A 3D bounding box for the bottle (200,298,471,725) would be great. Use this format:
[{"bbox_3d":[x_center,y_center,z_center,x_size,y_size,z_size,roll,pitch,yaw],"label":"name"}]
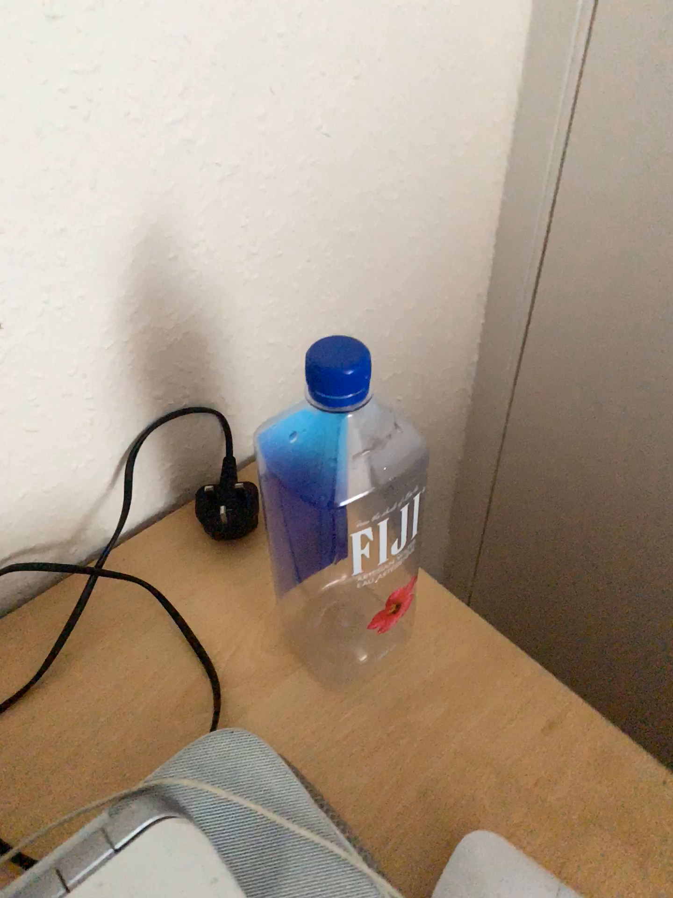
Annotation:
[{"bbox_3d":[0.001,0.041,0.374,0.090,0.208,0.080,-30,49,-29],"label":"bottle"}]
